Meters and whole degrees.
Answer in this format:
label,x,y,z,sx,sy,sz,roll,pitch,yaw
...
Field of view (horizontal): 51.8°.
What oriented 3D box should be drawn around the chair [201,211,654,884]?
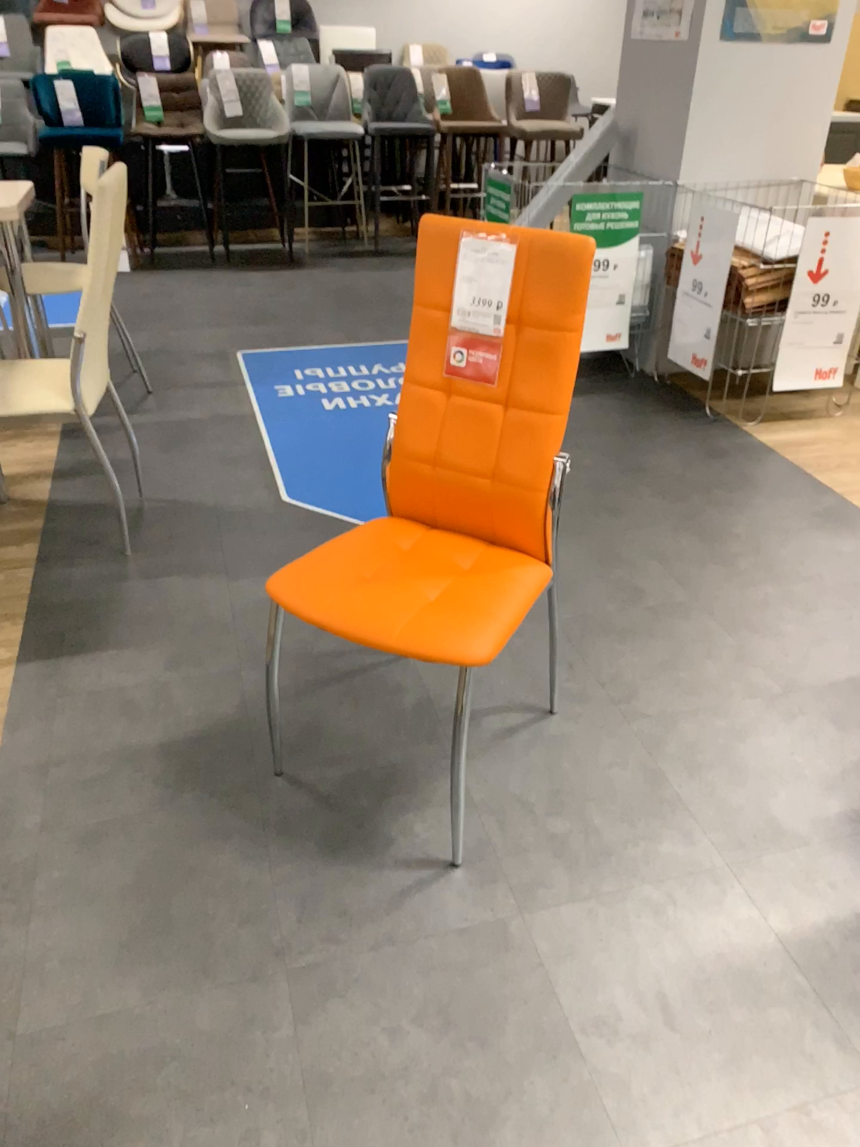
label,x,y,z,sx,sy,sz,roll,pitch,yaw
chair,0.007,-0.067,1.634,0.490,1.014,0.543,19,35,27
